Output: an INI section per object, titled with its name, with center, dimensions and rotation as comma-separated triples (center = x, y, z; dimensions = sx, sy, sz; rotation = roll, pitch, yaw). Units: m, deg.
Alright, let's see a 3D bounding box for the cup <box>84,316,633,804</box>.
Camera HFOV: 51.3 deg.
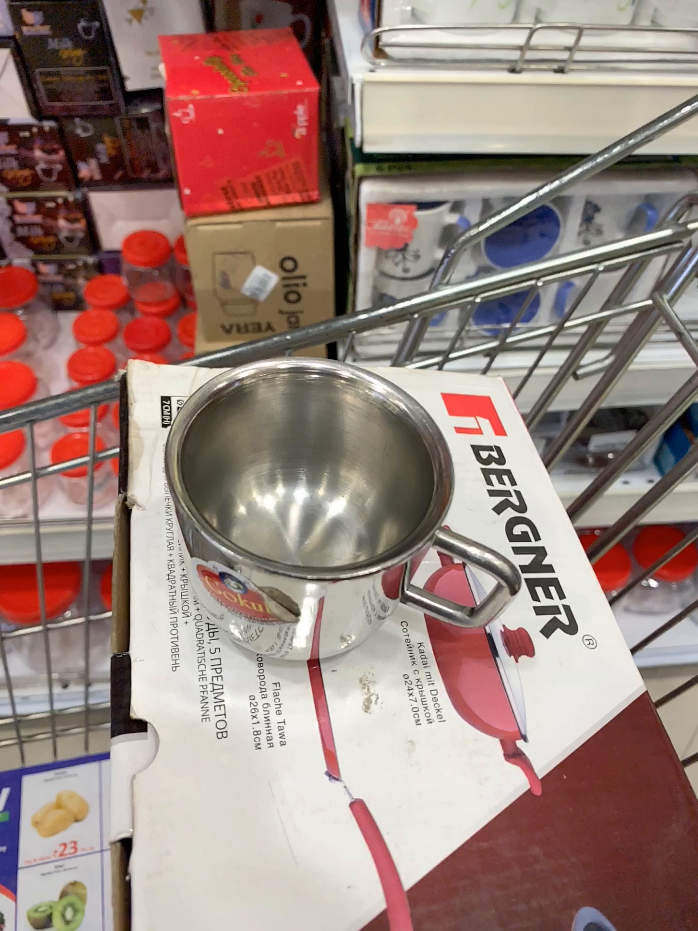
[cup]
center = 0.003, 0.018, 0.161
dimensions = 0.090, 0.050, 0.060
rotation = 22, 53, 15
